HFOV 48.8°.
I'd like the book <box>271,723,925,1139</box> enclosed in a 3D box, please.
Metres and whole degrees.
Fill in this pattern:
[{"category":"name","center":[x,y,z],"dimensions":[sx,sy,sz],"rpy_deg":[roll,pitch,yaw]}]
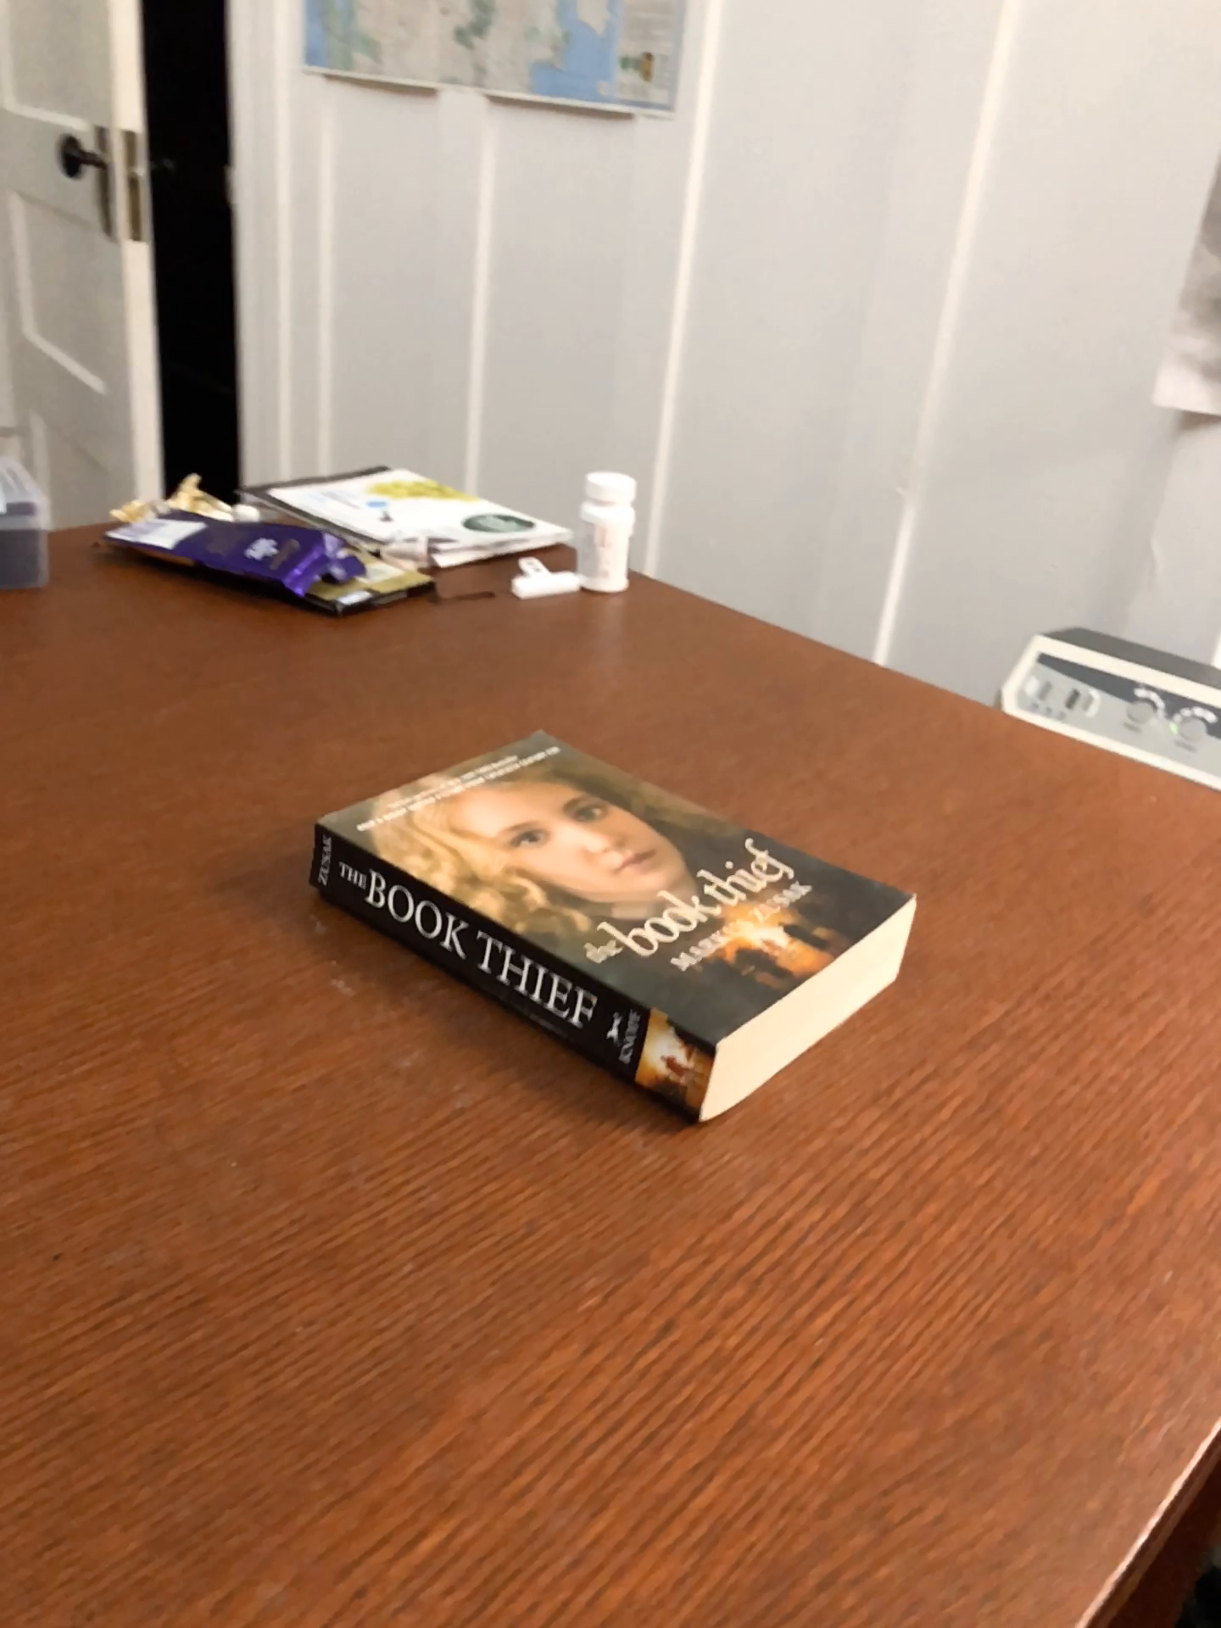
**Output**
[{"category":"book","center":[-0.008,0.031,0.550],"dimensions":[0.220,0.030,0.151],"rpy_deg":[26,33,32]}]
